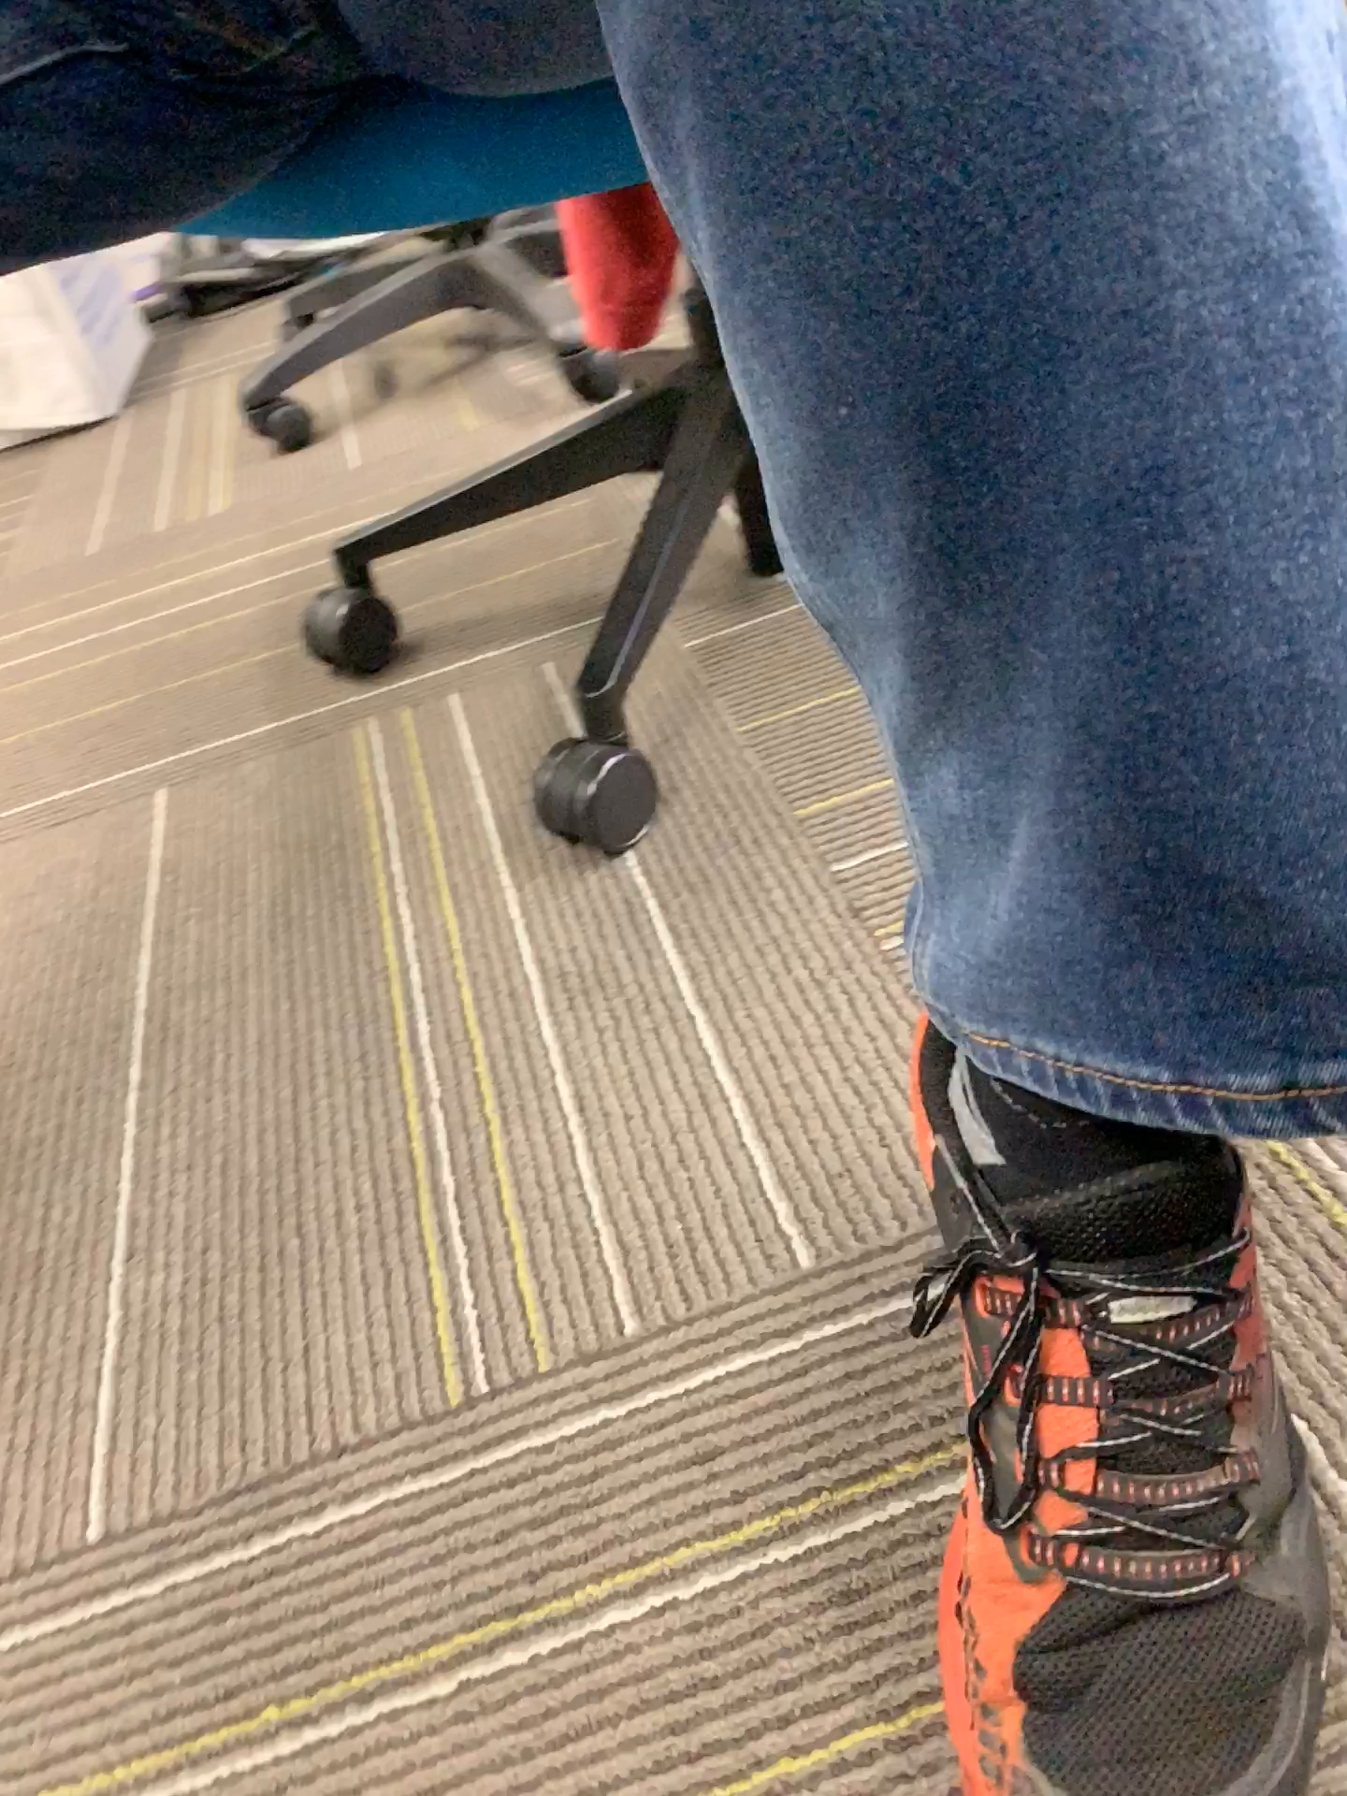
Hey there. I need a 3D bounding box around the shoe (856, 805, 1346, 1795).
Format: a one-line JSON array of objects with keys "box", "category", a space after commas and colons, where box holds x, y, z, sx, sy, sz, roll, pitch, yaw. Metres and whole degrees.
[{"box": [0.124, 0.137, 0.430, 0.126, 0.106, 0.316, -1, 65, 7], "category": "shoe"}]
